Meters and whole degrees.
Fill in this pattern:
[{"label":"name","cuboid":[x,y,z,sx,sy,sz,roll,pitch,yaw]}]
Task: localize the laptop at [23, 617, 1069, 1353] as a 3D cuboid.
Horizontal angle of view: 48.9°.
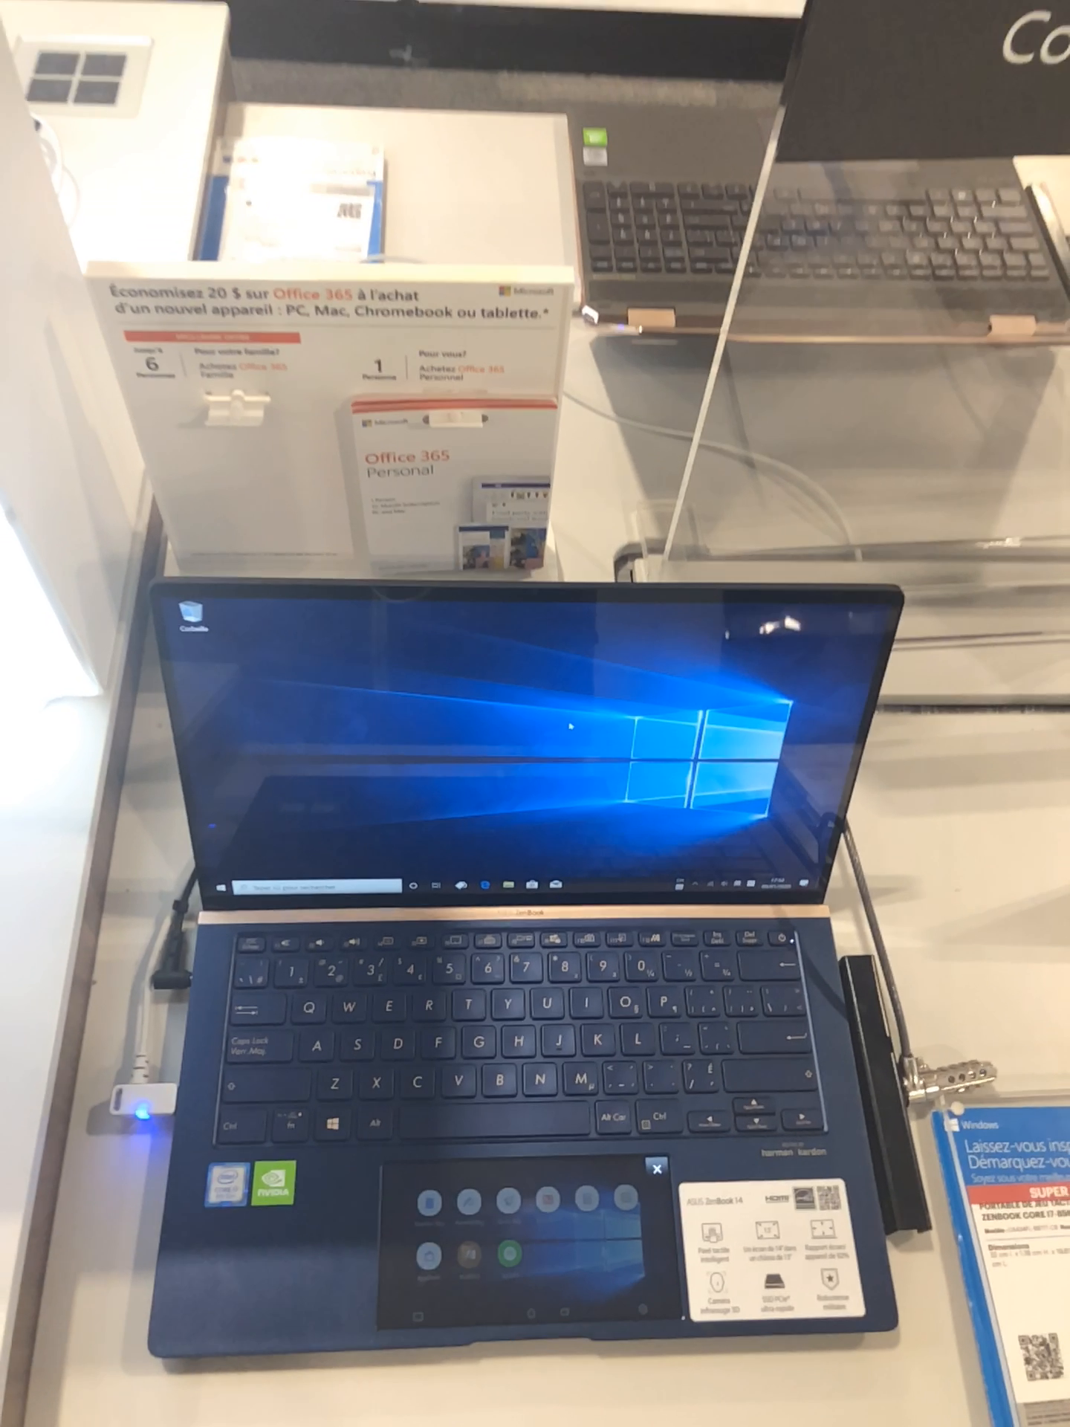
[{"label":"laptop","cuboid":[0.000,0.112,0.488,0.308,0.179,0.253,0,57,-5]}]
